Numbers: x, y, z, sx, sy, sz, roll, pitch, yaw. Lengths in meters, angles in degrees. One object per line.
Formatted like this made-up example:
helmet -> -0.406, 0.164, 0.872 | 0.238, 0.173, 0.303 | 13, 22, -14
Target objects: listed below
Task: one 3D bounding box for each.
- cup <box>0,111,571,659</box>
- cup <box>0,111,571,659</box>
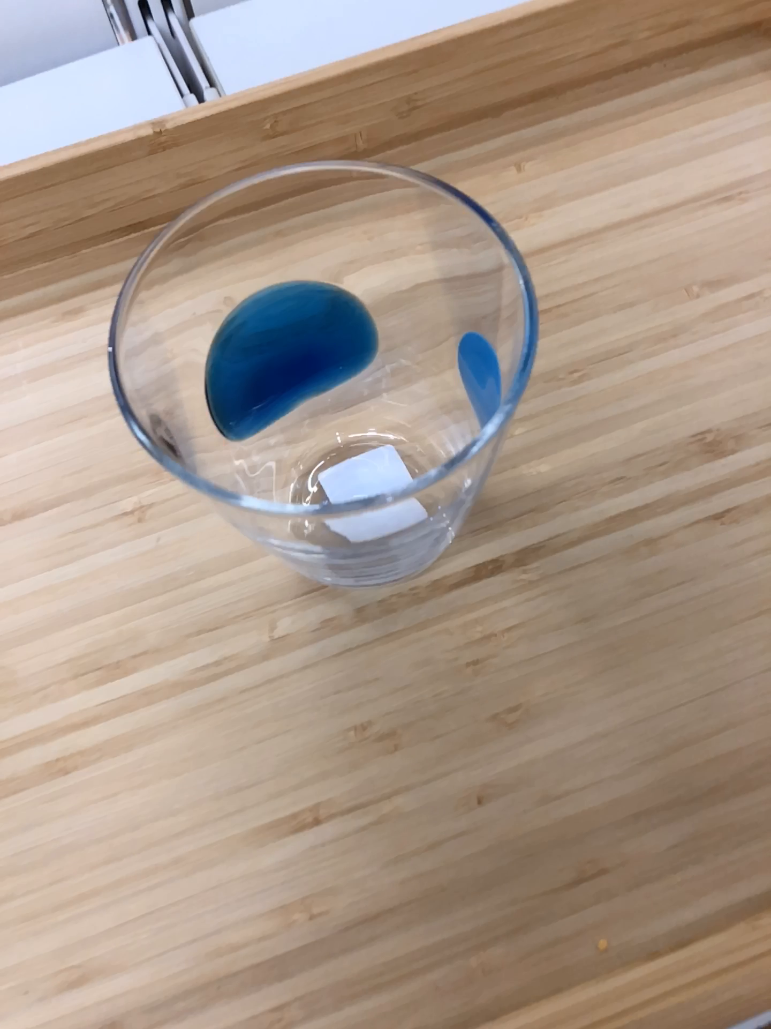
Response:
cup -> -0.014, -0.031, 0.211 | 0.100, 0.070, 0.100 | -2, 64, 4
cup -> -0.014, -0.031, 0.211 | 0.100, 0.070, 0.100 | -2, 64, 4
